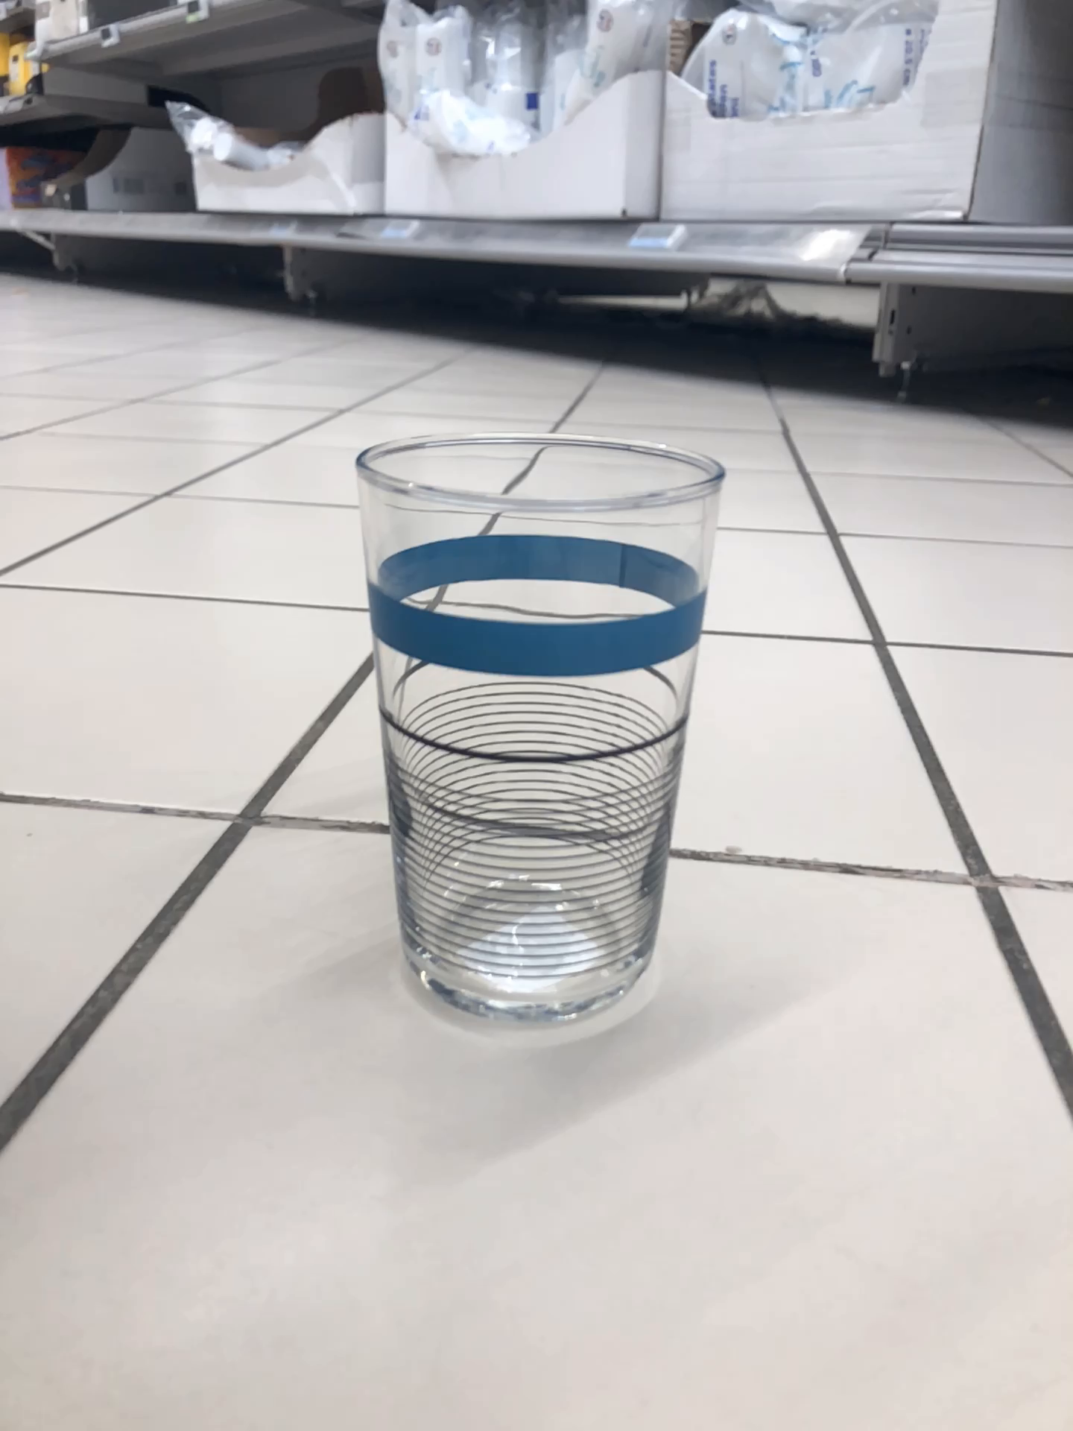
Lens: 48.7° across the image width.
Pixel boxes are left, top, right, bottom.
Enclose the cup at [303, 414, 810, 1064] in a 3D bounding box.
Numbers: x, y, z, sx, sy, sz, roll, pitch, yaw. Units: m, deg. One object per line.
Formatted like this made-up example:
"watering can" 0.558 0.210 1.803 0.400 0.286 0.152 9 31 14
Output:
"cup" 0.007 -0.002 0.238 0.079 0.102 0.080 2 21 -1
